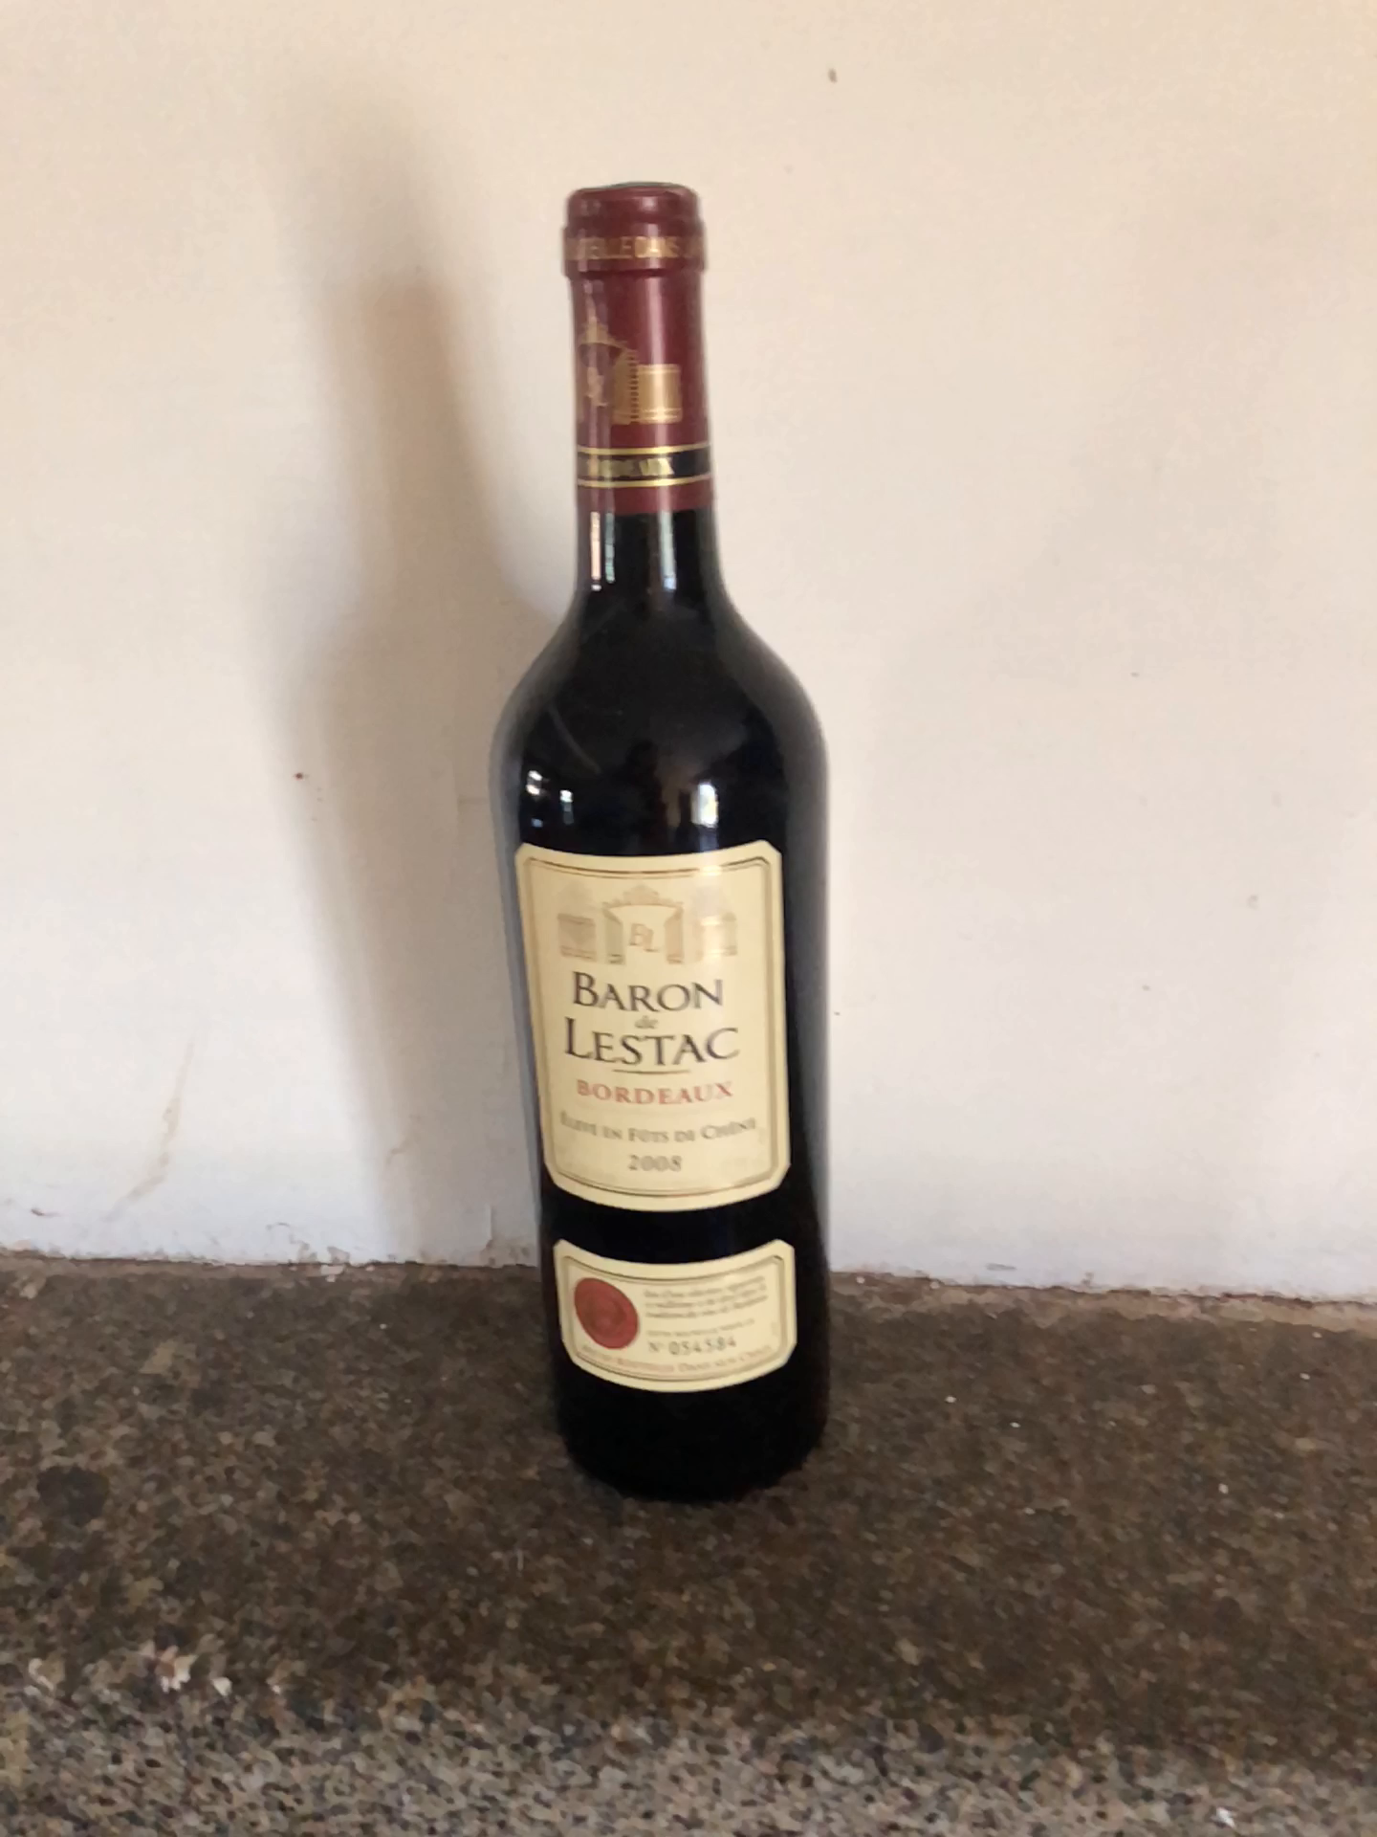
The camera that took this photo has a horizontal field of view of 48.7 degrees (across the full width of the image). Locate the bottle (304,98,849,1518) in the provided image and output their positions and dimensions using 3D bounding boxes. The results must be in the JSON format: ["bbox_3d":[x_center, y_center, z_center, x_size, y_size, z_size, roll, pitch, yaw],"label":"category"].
[{"bbox_3d":[-0.011,-0.012,0.327,0.080,0.279,0.070,1,20,11],"label":"bottle"}]
